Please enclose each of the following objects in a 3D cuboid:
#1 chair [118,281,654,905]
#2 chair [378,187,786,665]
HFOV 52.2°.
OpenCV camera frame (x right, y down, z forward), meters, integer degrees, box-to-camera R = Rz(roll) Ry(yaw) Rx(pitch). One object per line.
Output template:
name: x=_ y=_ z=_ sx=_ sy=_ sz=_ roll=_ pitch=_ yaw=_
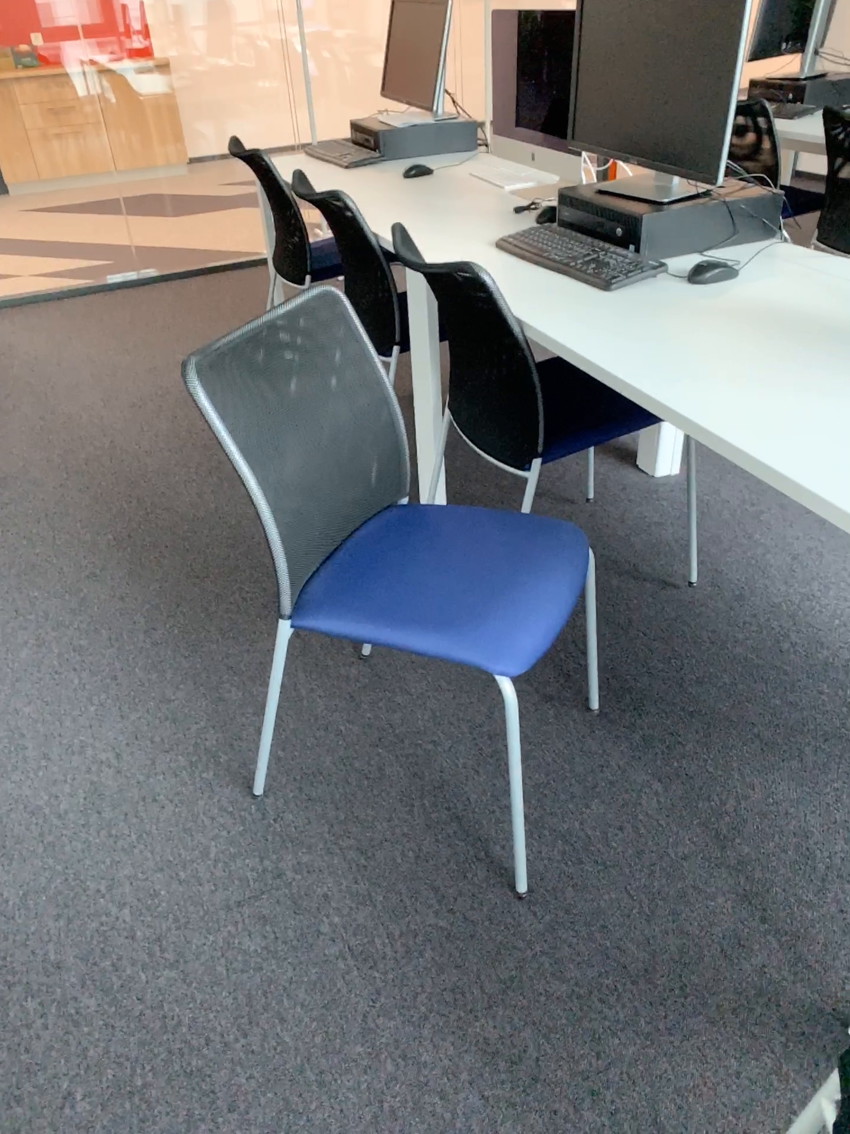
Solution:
chair: x=-0.011 y=0.008 z=1.558 sx=0.631 sy=0.825 sz=0.573 roll=13 pitch=37 yaw=23
chair: x=0.327 y=-0.361 z=2.078 sx=0.651 sy=0.865 sz=0.573 roll=-16 pitch=35 yaw=-18
